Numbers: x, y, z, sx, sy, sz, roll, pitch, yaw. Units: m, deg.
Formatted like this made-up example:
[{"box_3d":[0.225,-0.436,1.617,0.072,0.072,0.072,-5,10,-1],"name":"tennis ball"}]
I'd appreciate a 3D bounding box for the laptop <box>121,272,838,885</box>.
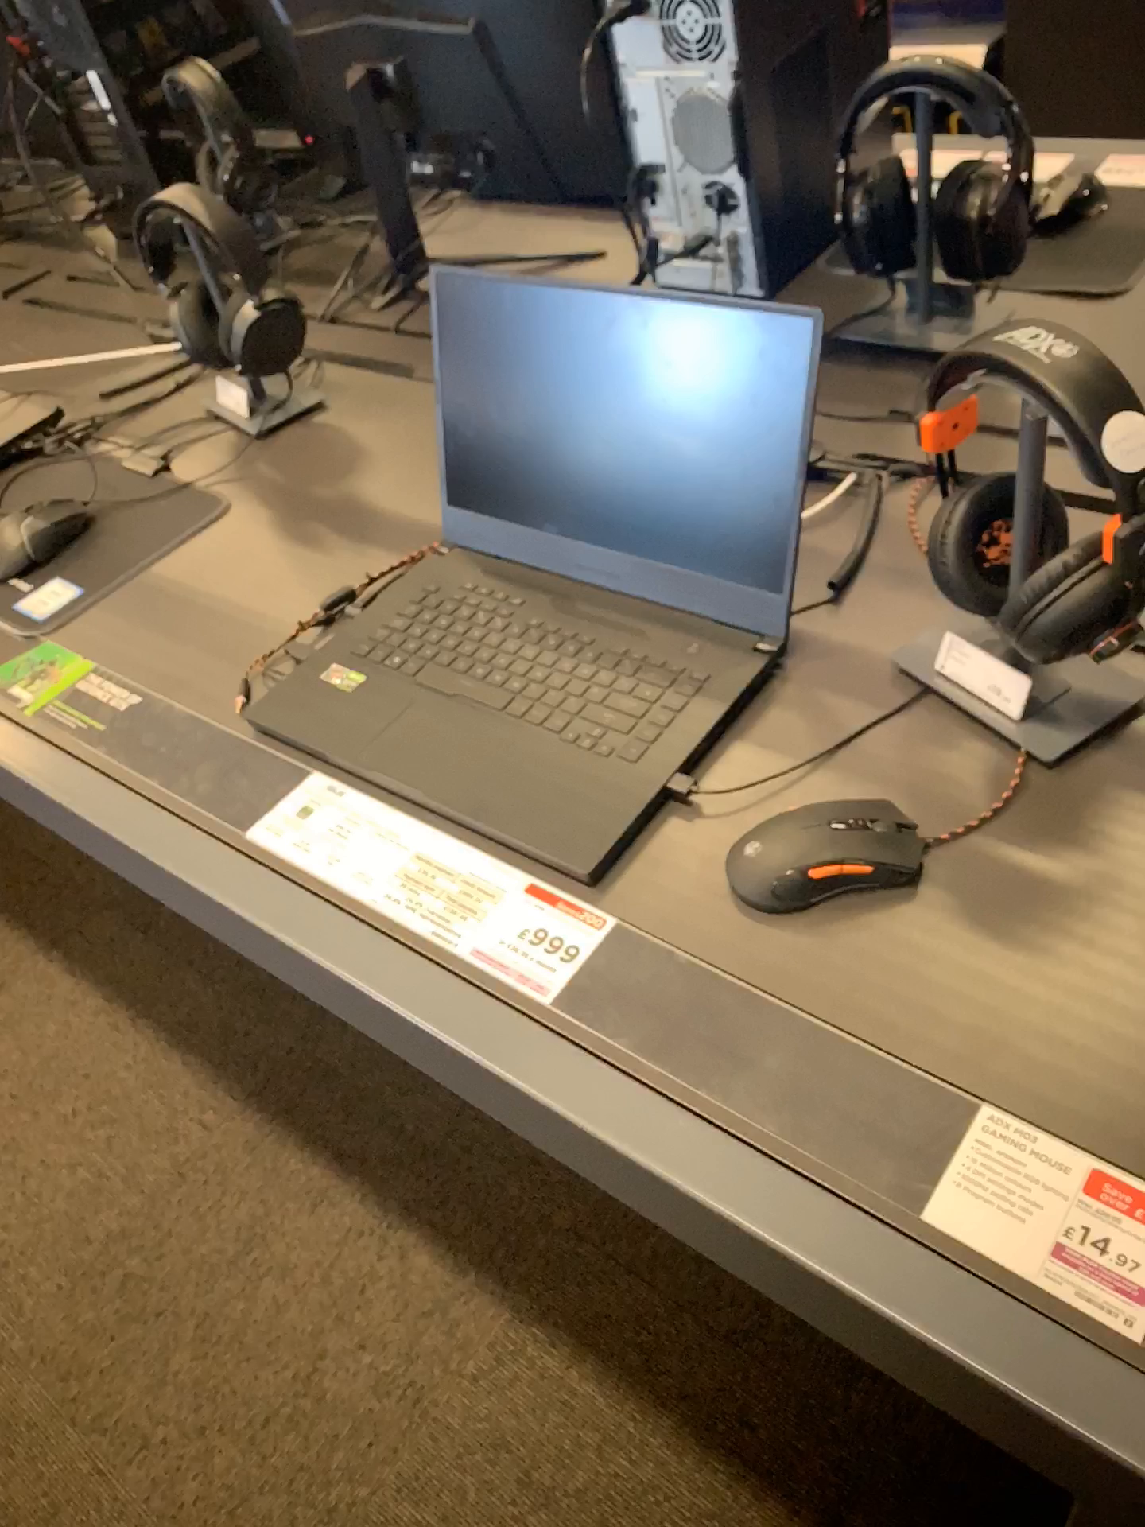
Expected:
[{"box_3d":[-0.051,-0.158,0.848,0.349,0.203,0.324,22,56,32],"name":"laptop"}]
